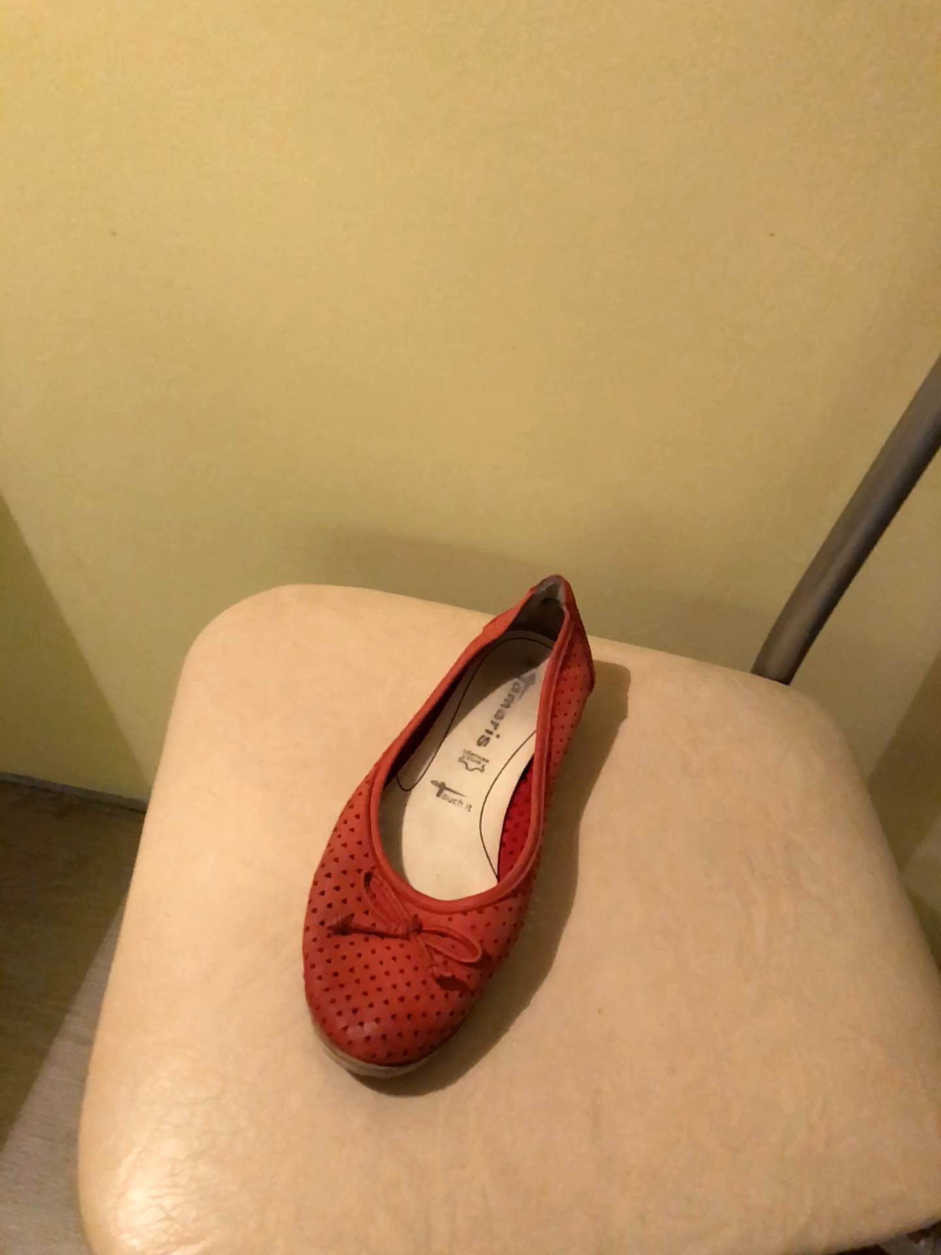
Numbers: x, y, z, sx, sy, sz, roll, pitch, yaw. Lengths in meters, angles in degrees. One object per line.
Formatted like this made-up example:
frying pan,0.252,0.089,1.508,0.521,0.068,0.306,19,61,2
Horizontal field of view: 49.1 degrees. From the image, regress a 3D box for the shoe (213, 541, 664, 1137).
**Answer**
shoe,-0.002,0.077,0.472,0.100,0.080,0.252,21,45,12
